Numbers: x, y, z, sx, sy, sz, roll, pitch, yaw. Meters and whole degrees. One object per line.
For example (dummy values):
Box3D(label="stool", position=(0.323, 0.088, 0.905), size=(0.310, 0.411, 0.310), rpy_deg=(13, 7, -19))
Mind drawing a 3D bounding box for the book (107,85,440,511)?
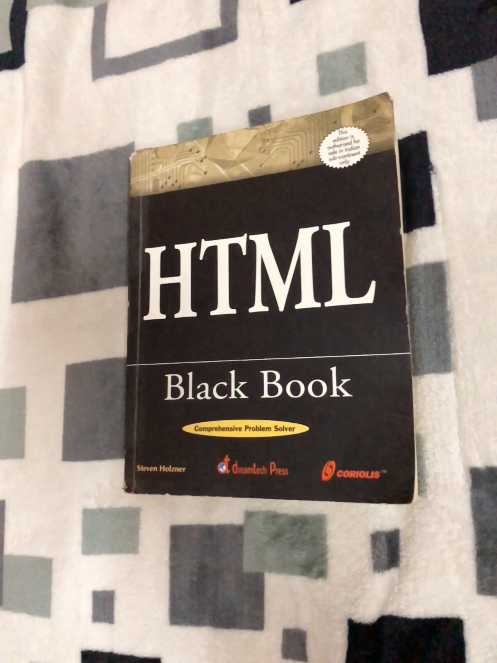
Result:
Box3D(label="book", position=(0.013, -0.013, 0.356), size=(0.190, 0.070, 0.230), rpy_deg=(-5, 79, 21))
